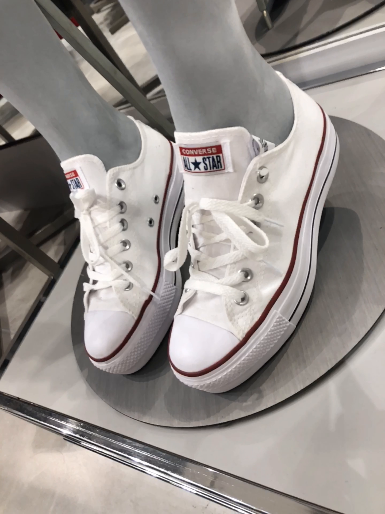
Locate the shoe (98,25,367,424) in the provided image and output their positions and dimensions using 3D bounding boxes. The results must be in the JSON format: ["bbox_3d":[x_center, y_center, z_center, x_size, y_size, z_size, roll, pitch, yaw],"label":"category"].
[{"bbox_3d":[0.039,-0.028,0.351,0.111,0.089,0.280,9,75,42],"label":"shoe"}]

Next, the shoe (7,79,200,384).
[{"bbox_3d":[-0.077,-0.024,0.424,0.100,0.089,0.271,-6,66,35],"label":"shoe"}]
